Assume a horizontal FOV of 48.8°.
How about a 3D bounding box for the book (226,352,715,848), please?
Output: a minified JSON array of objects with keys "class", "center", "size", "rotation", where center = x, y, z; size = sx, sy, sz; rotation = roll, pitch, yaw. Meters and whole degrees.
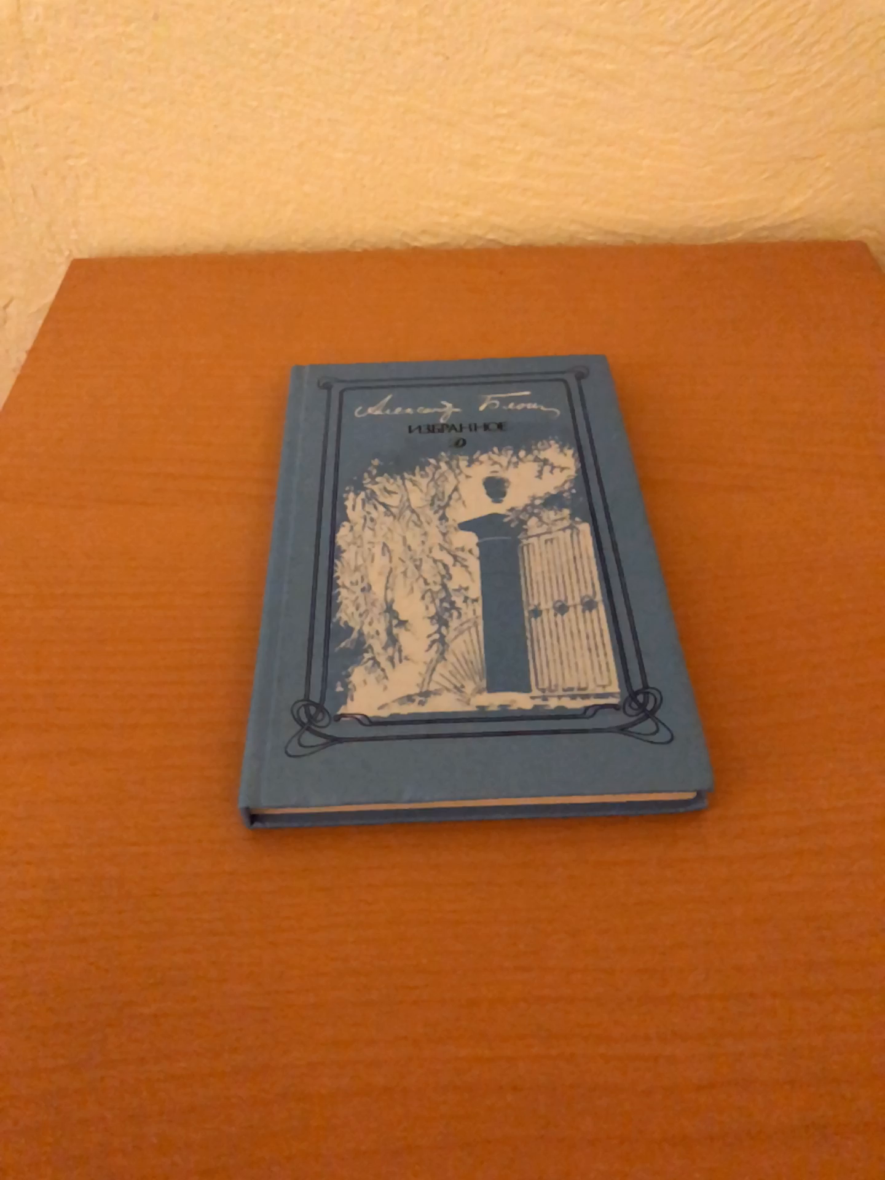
[{"class":"book","center":[0.004,-0.013,0.347],"size":[0.135,0.020,0.211],"rotation":[-2,48,-1]}]
